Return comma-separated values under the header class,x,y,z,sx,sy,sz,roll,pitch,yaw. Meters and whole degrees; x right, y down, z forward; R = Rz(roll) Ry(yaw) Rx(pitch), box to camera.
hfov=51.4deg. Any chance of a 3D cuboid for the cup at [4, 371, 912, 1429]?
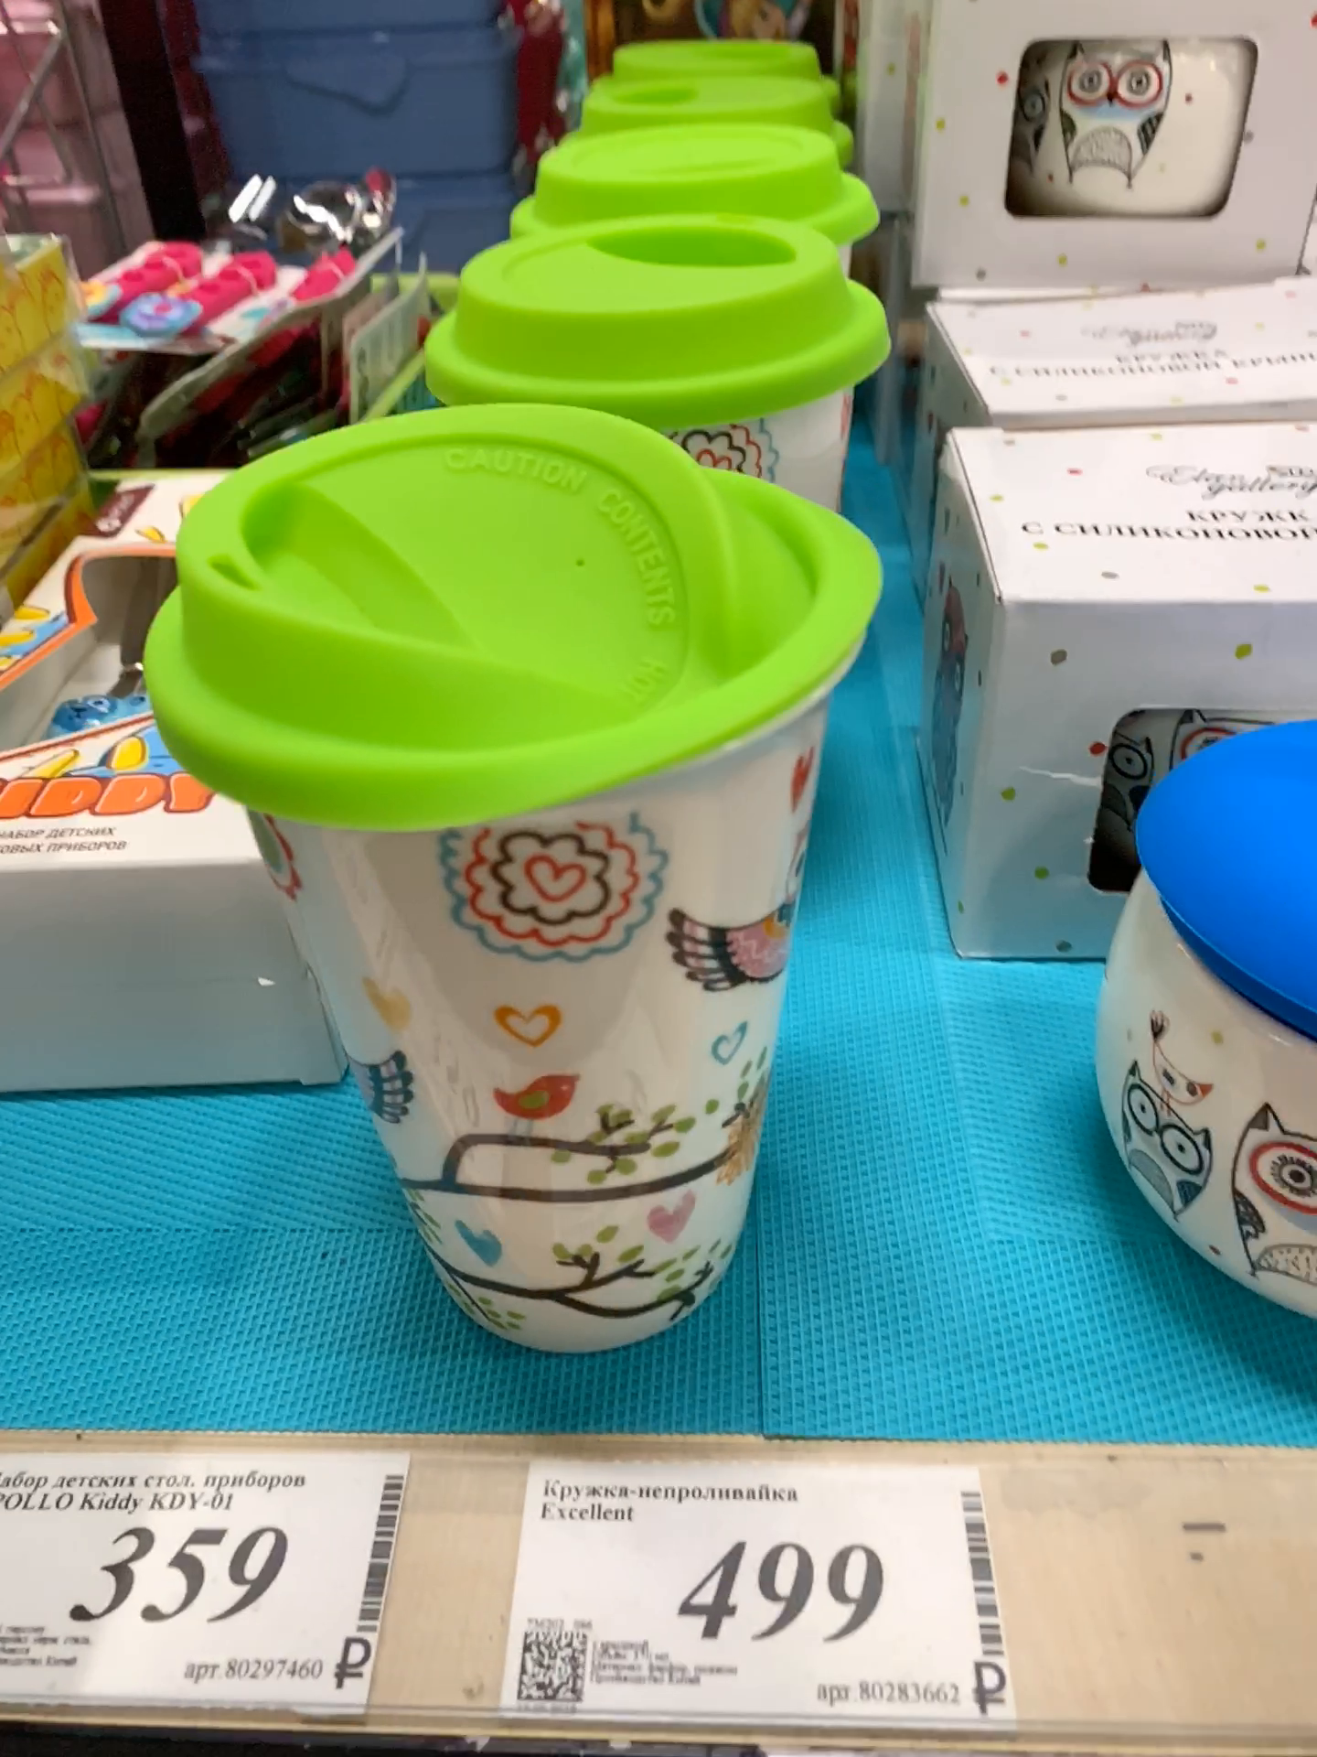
class,x,y,z,sx,sy,sz,roll,pitch,yaw
cup,-0.018,0.006,0.210,0.090,0.135,0.085,-2,37,1
